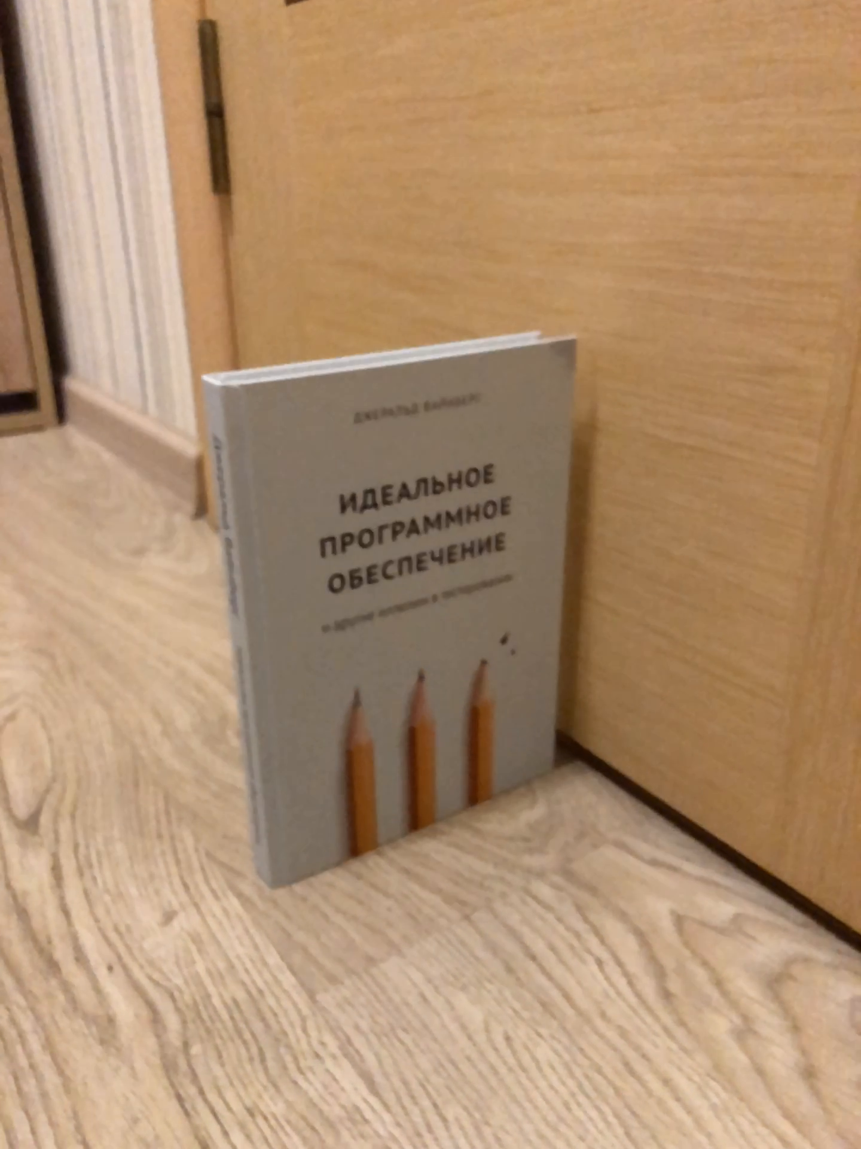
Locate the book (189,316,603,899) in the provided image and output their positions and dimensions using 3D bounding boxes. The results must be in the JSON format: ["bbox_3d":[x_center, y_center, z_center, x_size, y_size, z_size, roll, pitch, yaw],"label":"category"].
[{"bbox_3d":[-0.005,0.011,0.391,0.163,0.209,0.023,-15,28,-30],"label":"book"}]
